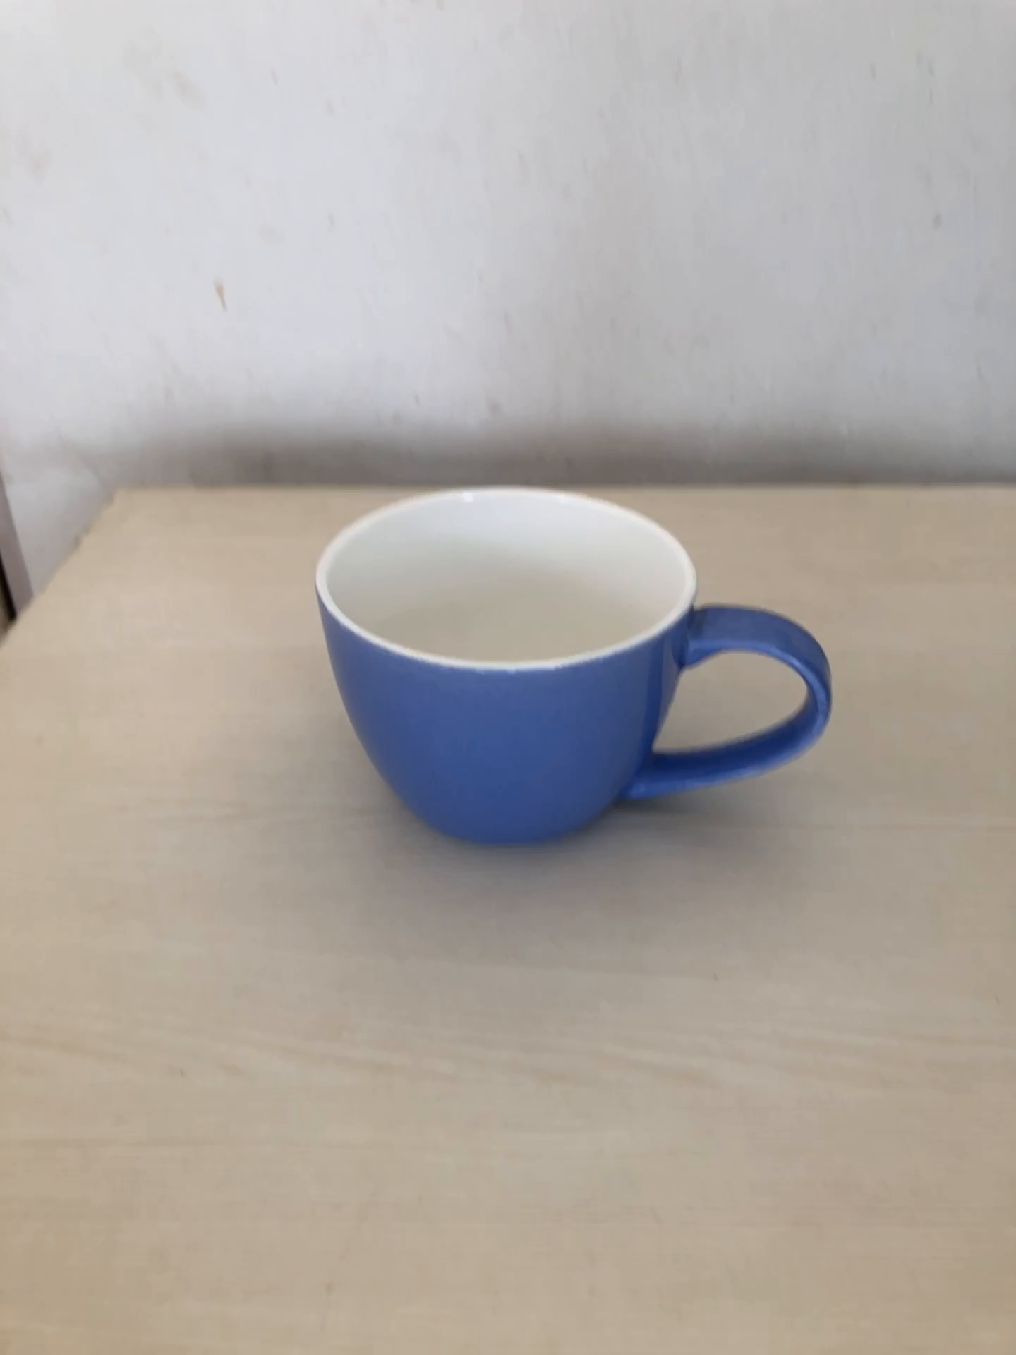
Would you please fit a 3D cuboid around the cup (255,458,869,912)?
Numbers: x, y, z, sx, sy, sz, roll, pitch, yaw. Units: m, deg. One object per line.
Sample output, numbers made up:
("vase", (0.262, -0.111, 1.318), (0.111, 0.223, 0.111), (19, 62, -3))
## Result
("cup", (0.022, -0.006, 0.329), (0.150, 0.069, 0.101), (8, 33, 13))
